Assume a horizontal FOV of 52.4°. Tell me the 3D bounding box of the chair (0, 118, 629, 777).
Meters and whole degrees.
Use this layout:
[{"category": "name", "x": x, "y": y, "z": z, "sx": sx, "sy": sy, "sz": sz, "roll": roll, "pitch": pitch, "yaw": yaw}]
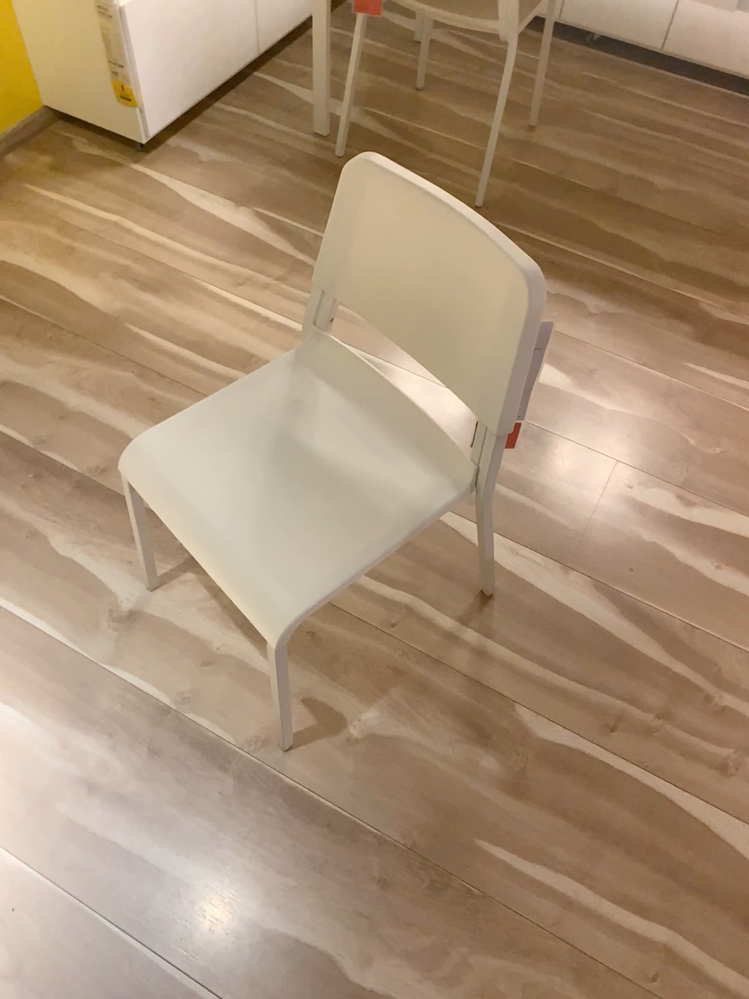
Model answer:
[{"category": "chair", "x": -0.092, "y": -0.046, "z": 1.192, "sx": 0.551, "sy": 0.708, "sz": 0.521, "roll": -37, "pitch": 66, "yaw": -24}]
